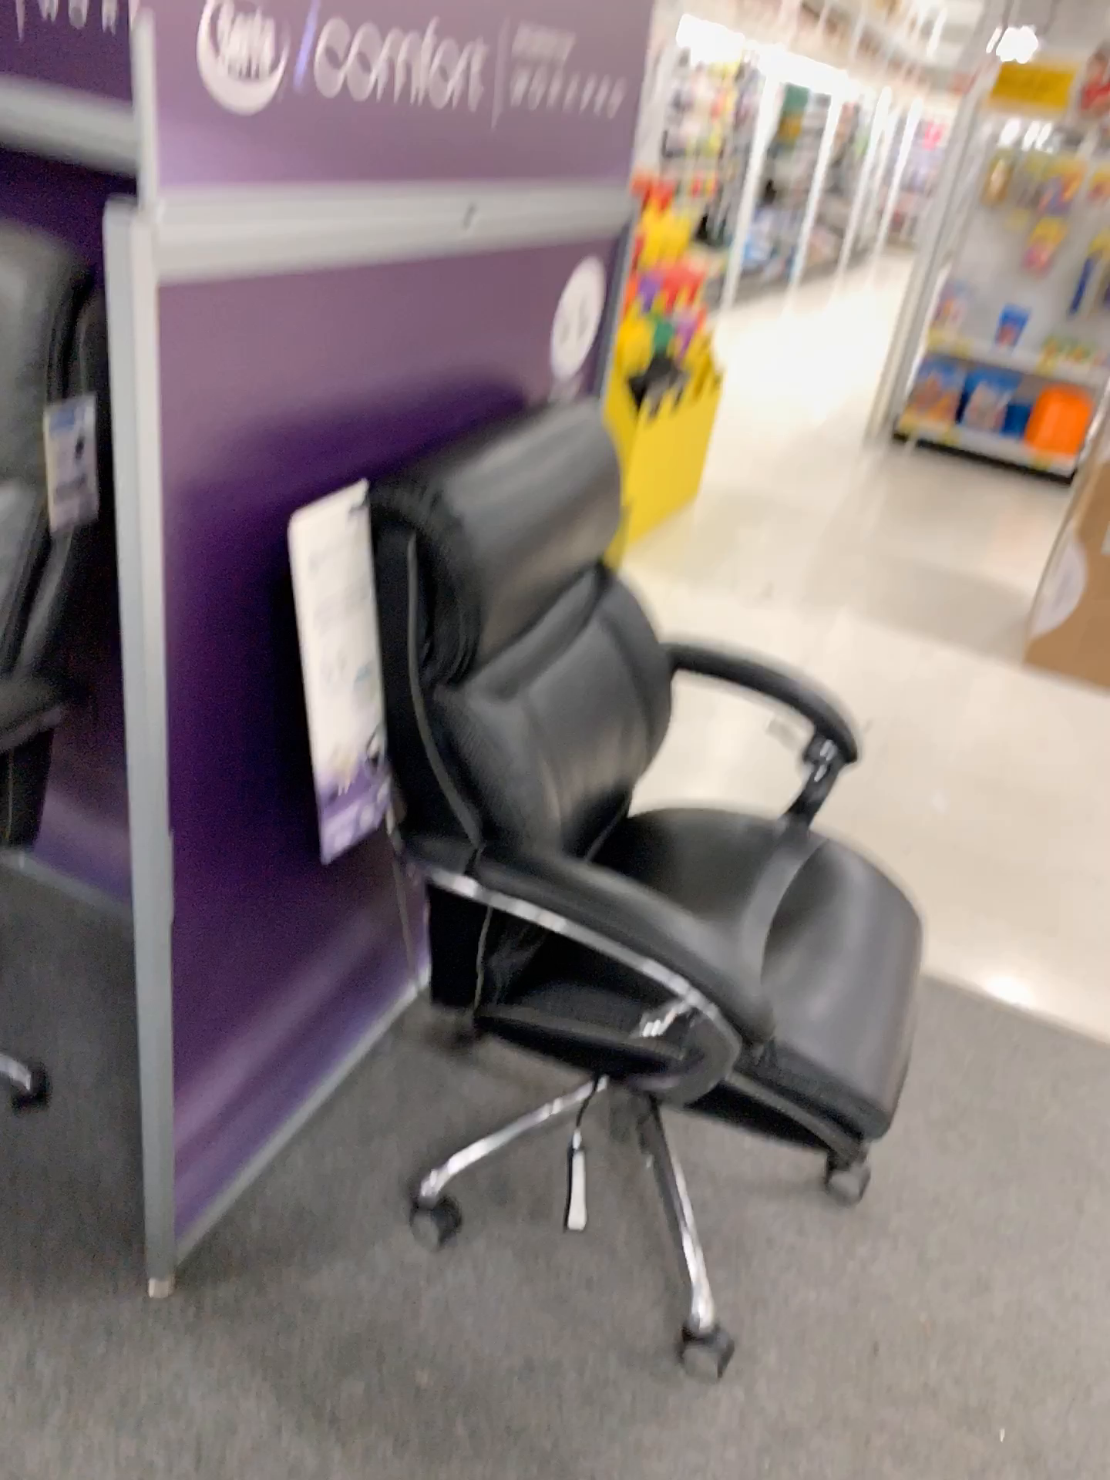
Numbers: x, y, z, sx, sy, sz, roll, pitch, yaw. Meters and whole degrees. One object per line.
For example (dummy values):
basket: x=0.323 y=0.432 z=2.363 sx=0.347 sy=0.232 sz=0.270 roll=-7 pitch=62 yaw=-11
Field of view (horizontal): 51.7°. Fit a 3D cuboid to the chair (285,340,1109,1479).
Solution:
chair: x=0.214 y=0.118 z=1.432 sx=0.720 sy=0.955 sz=0.774 roll=20 pitch=31 yaw=16
